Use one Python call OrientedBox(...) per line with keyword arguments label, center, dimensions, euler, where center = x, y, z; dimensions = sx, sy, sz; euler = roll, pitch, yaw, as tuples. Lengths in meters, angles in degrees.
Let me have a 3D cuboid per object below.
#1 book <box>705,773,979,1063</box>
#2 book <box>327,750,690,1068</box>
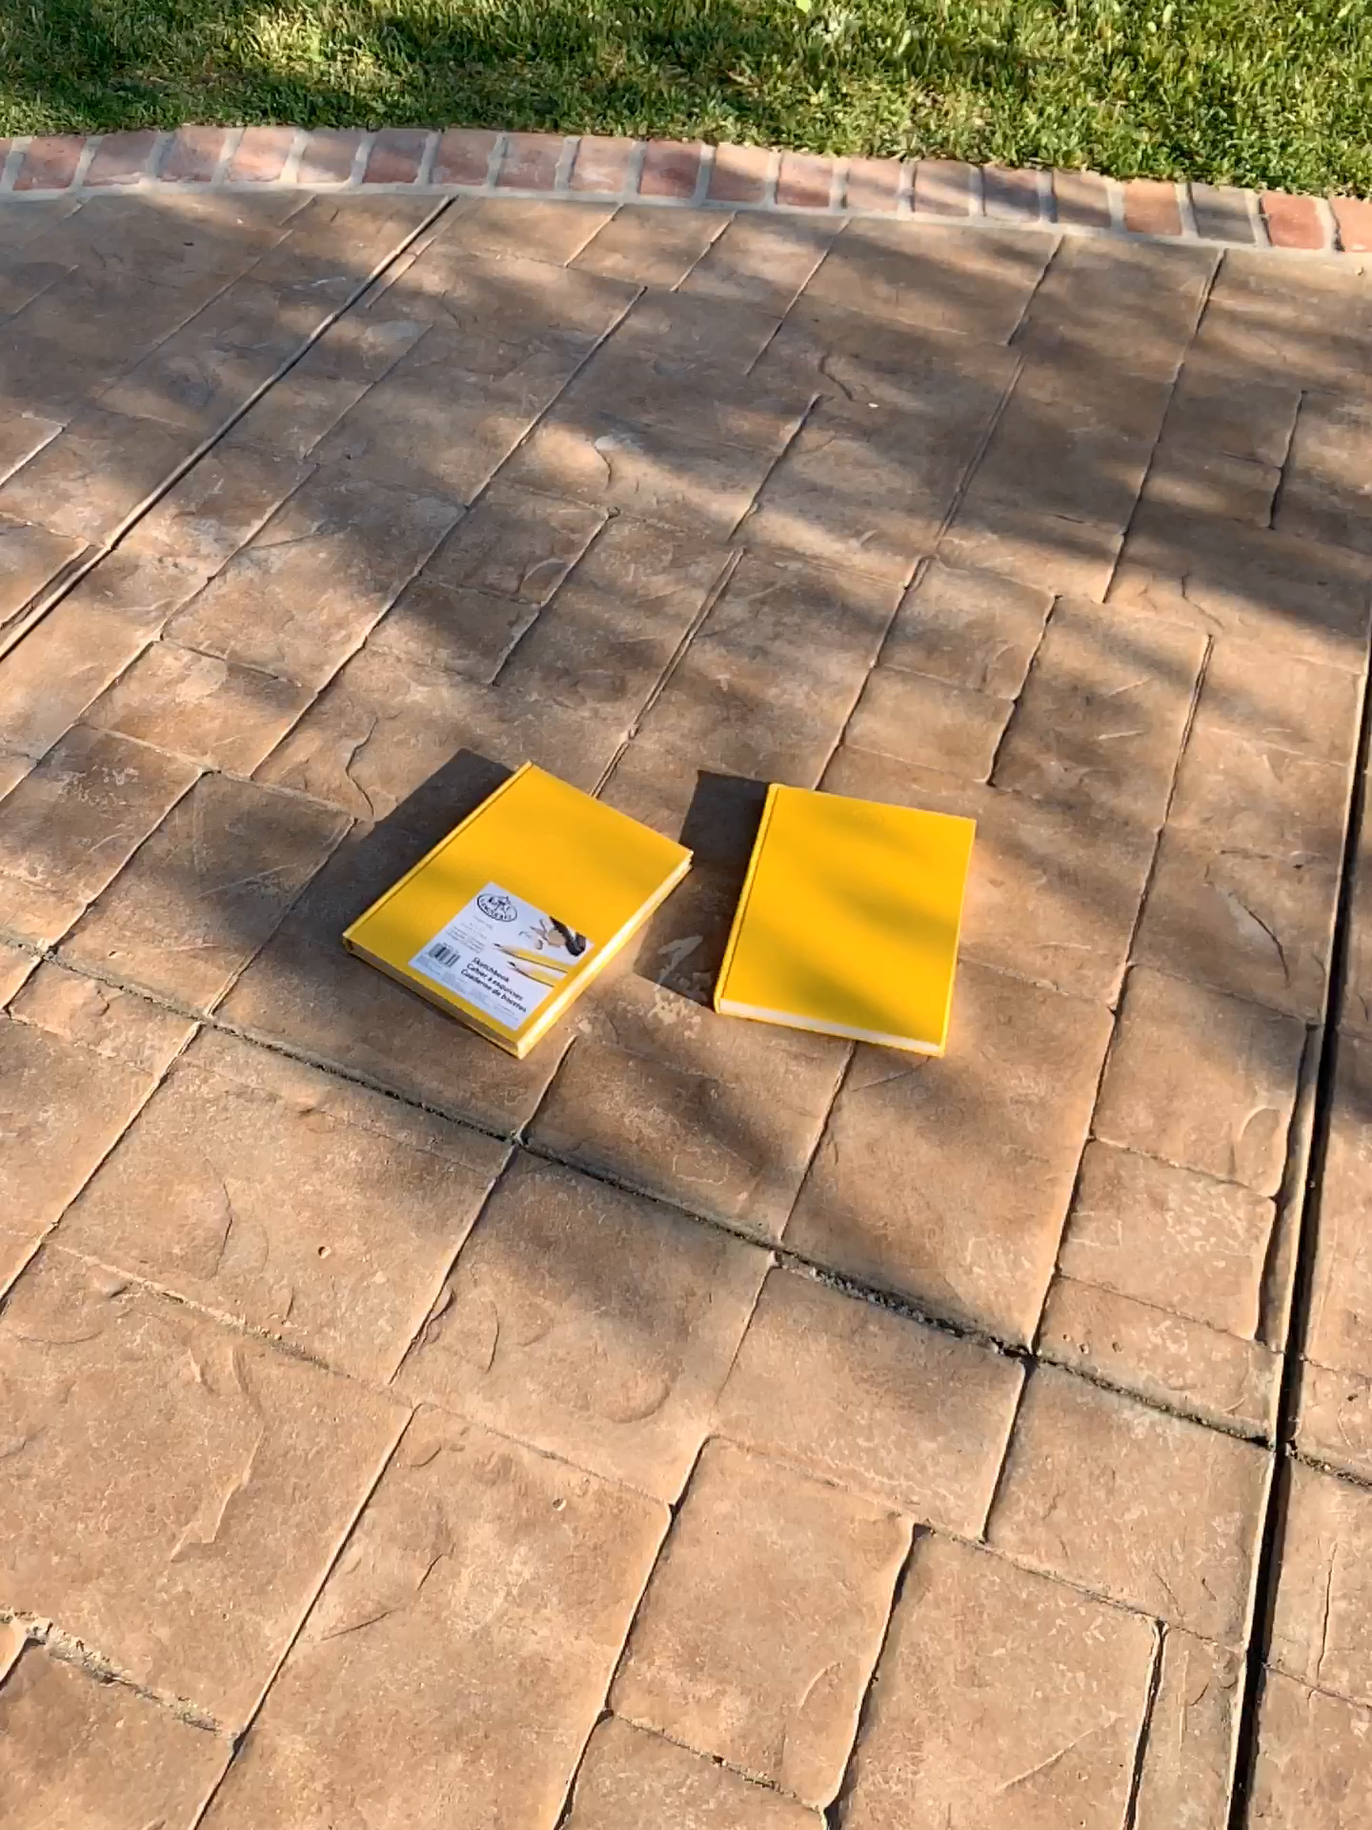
OrientedBox(label="book", center=(0.163, -0.006, 1.421), dimensions=(0.230, 0.040, 0.291), euler=(11, 54, 7))
OrientedBox(label="book", center=(-0.173, -0.016, 1.414), dimensions=(0.230, 0.040, 0.291), euler=(30, 58, 19))
